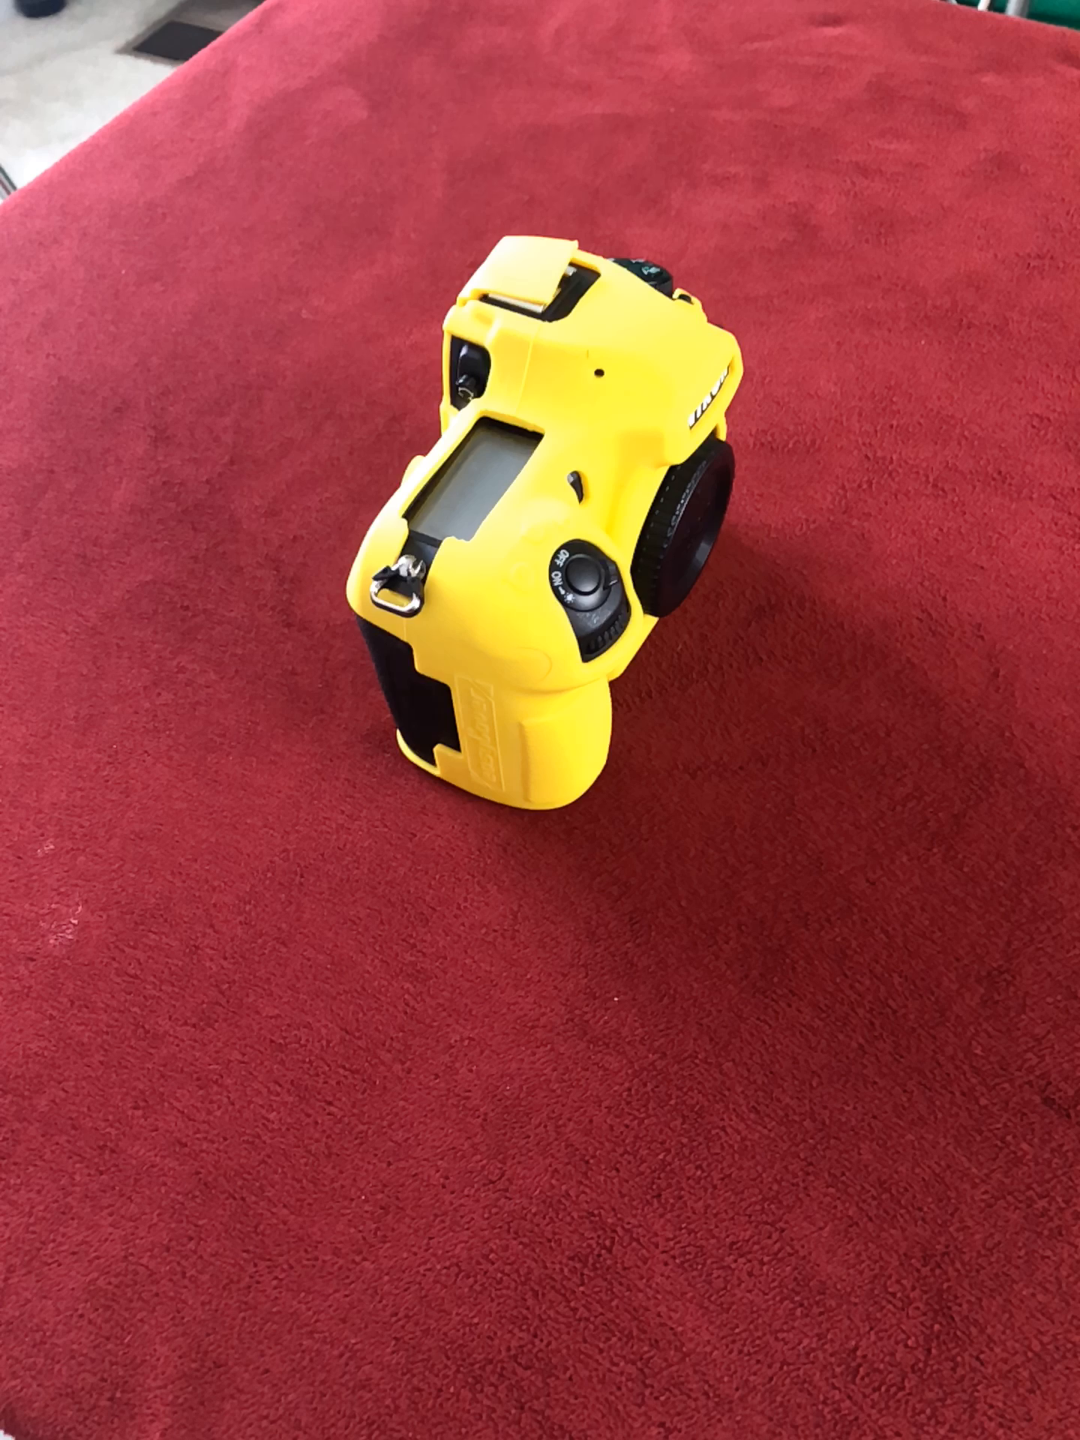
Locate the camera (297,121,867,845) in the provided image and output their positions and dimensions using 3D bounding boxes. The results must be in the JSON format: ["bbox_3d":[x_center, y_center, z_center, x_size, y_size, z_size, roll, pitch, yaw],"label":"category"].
[{"bbox_3d":[0.019,-0.071,0.354,0.082,0.116,0.160,23,60,17],"label":"camera"}]
